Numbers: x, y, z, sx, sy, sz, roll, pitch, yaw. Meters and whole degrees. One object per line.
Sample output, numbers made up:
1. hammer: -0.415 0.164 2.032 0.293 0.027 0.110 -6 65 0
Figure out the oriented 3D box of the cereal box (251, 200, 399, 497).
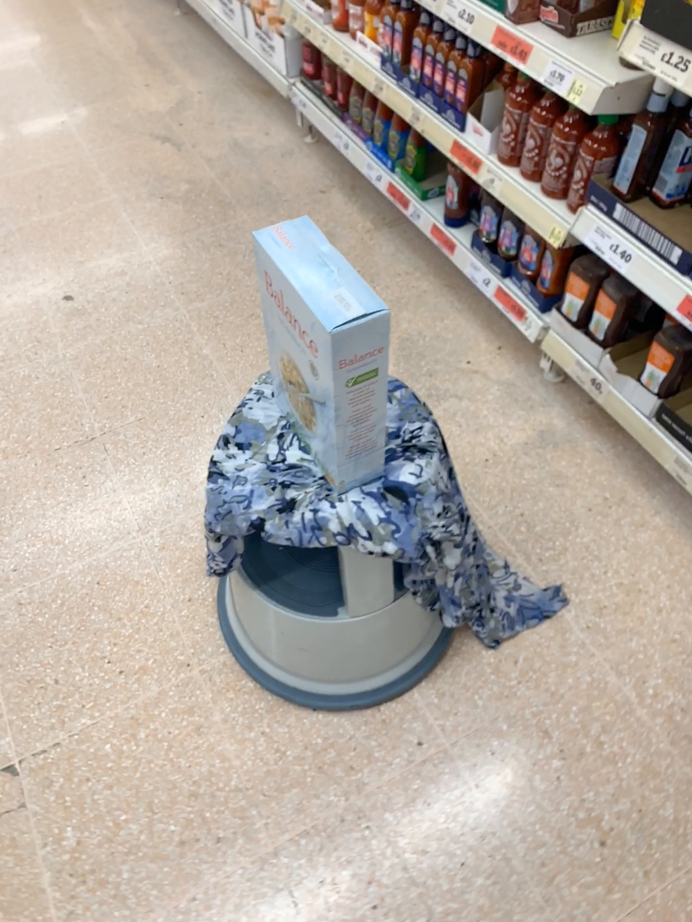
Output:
1. cereal box: -0.026 -0.127 0.853 0.070 0.278 0.211 -22 55 -16
